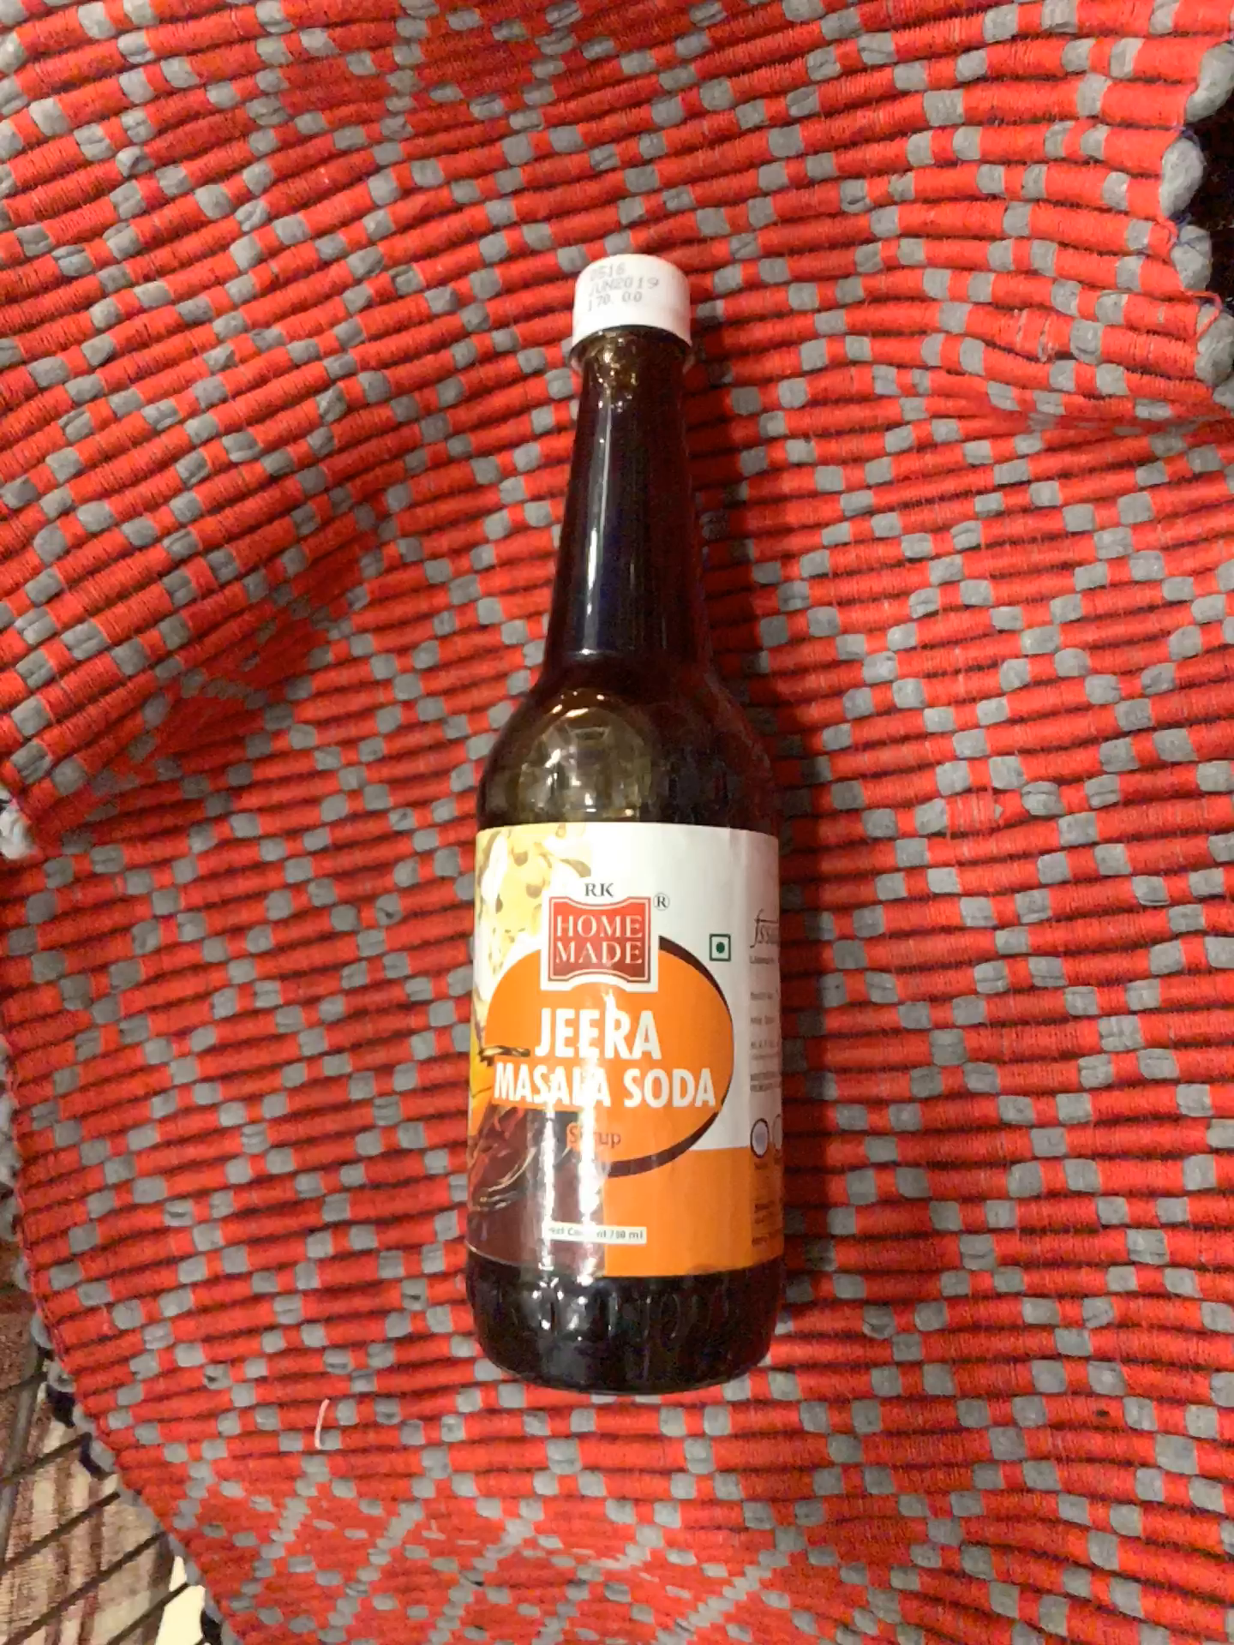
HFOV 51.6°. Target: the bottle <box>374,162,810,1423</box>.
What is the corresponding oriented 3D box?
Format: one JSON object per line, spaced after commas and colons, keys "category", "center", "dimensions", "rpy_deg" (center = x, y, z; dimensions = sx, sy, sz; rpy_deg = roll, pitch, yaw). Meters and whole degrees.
{"category": "bottle", "center": [0.002, -0.011, 0.299], "dimensions": [0.080, 0.070, 0.260], "rpy_deg": [0, 80, 10]}
